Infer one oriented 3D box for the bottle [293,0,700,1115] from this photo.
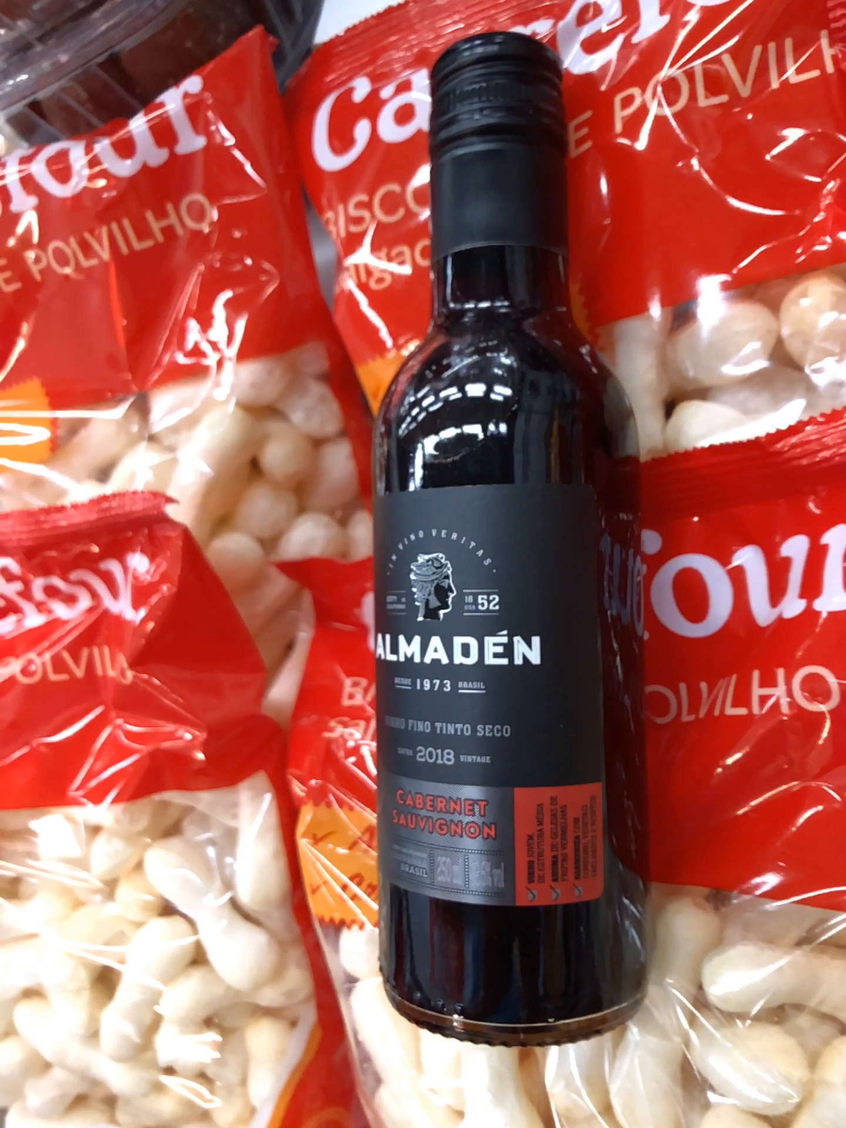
[{"bbox_3d":[0.017,-0.015,0.189,0.060,0.050,0.200,-2,84,32],"label":"bottle"}]
